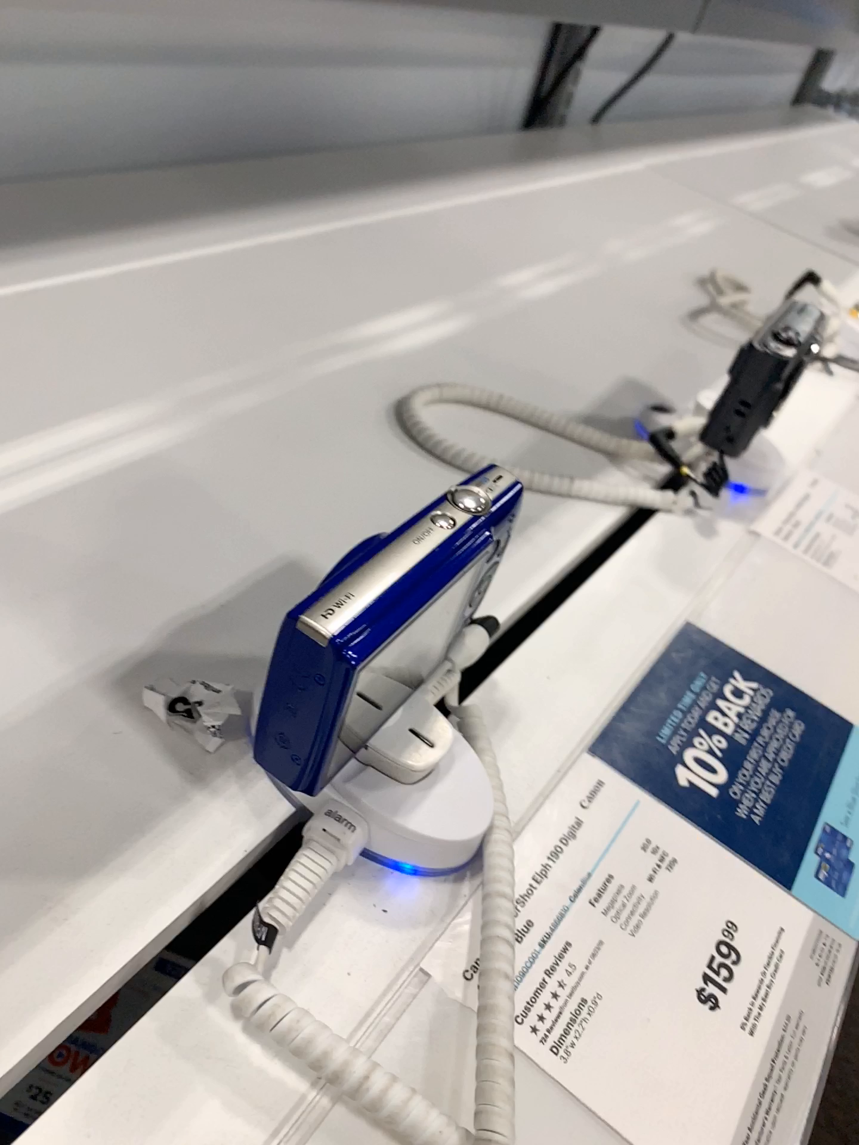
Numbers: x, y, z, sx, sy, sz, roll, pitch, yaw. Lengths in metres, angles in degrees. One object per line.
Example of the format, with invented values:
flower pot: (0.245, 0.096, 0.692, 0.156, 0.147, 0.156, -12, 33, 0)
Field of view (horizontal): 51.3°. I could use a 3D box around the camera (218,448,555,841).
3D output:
camera: (-0.008, 0.014, 0.240, 0.027, 0.060, 0.100, 33, 39, 11)
